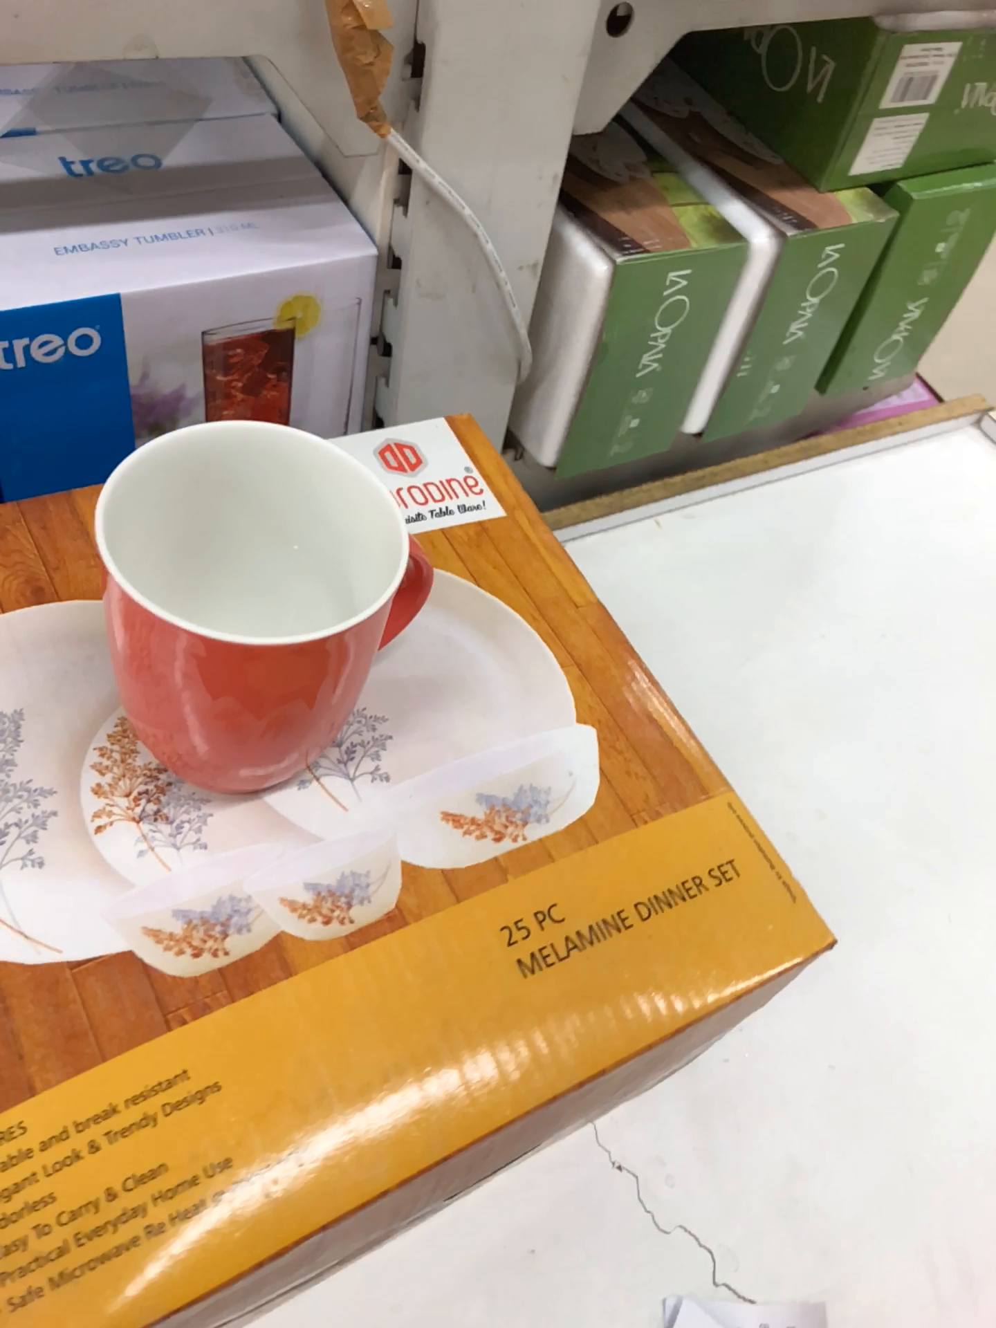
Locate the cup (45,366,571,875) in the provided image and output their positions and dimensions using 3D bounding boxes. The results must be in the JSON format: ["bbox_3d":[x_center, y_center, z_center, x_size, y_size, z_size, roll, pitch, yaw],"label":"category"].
[{"bbox_3d":[-0.061,-0.016,0.345,0.120,0.099,0.090,-17,58,-24],"label":"cup"}]
